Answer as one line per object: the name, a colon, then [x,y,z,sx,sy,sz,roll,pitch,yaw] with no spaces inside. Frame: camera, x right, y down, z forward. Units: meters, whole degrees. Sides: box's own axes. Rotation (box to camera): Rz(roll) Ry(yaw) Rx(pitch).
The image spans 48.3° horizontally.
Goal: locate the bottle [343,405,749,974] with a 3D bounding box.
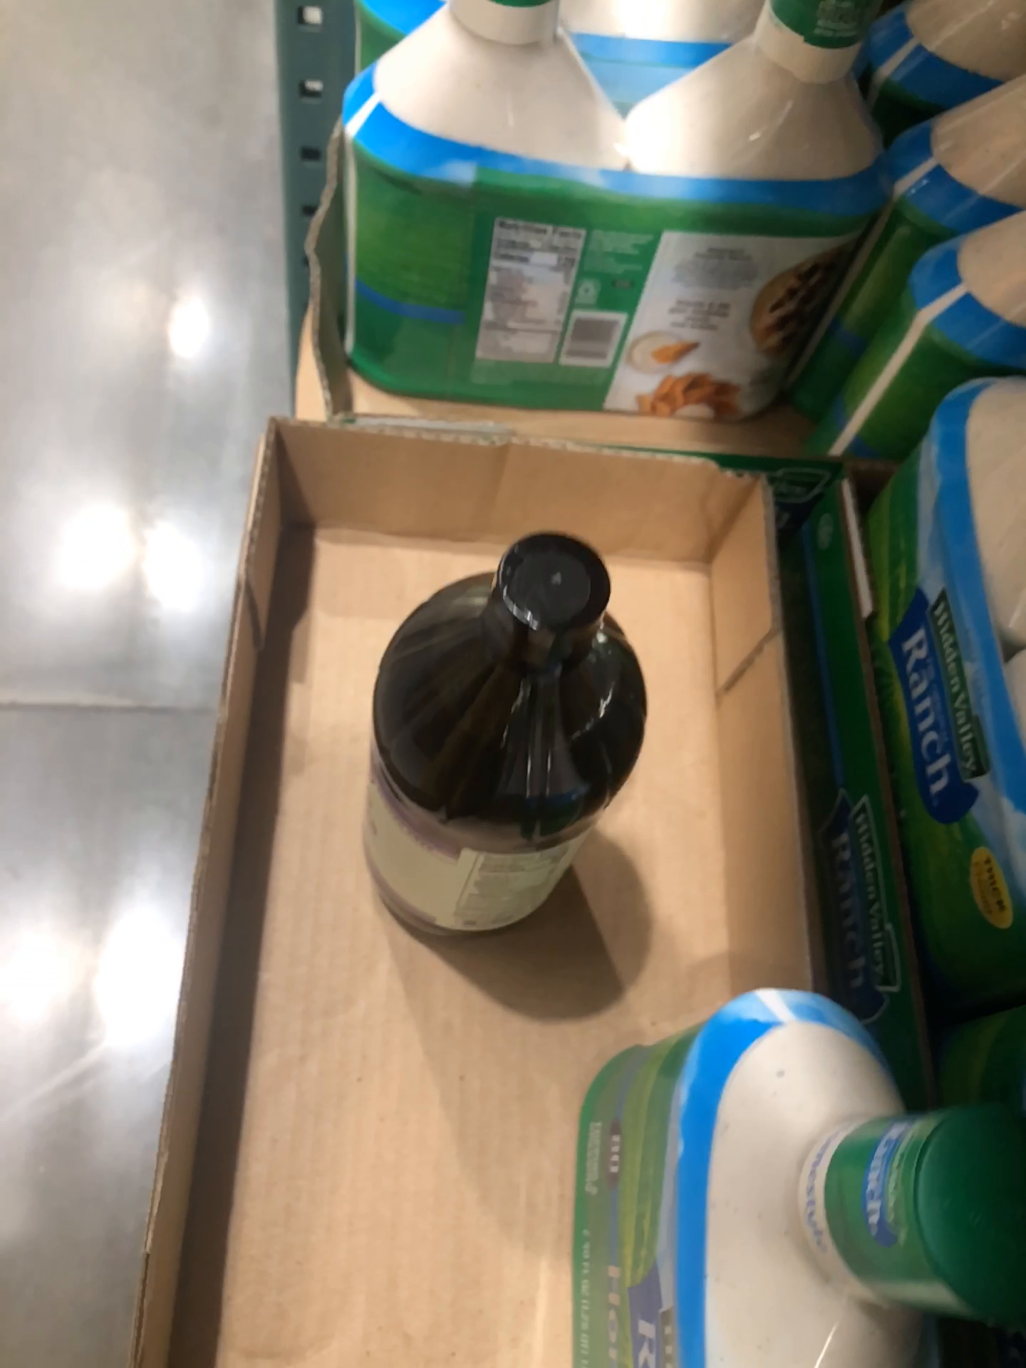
bottle: [-0.002,0.023,0.403,0.090,0.229,0.100,12,64,-4]
